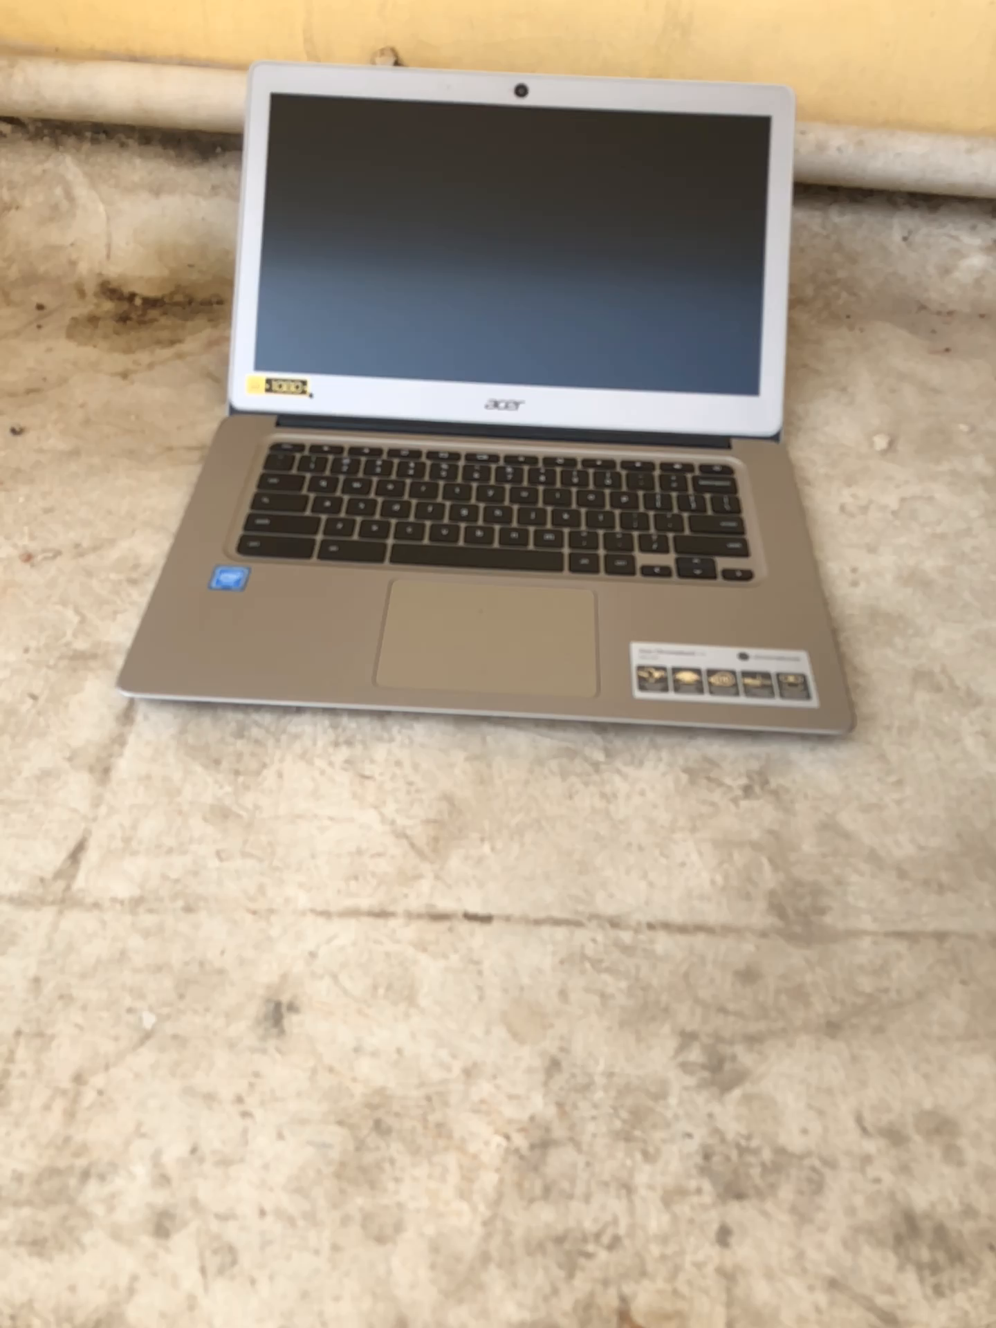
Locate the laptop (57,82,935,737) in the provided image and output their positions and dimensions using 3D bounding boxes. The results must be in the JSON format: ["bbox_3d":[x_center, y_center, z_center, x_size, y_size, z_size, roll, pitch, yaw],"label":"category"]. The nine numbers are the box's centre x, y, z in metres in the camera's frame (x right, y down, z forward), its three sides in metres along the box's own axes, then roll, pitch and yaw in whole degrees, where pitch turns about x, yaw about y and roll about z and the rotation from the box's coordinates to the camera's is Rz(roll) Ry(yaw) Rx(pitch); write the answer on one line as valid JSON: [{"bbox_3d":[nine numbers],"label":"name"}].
[{"bbox_3d":[0.001,-0.159,0.568,0.315,0.136,0.381,2,46,0],"label":"laptop"}]
